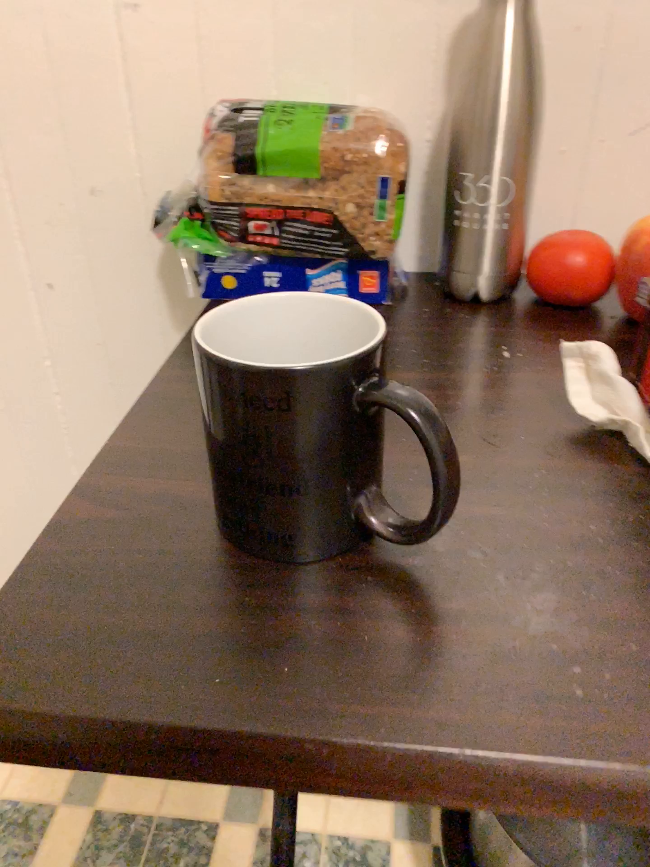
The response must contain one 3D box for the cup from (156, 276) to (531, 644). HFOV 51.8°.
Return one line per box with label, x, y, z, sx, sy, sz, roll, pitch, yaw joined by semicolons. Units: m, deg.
cup;0.006;0.002;0.297;0.131;0.099;0.080;22;39;33
